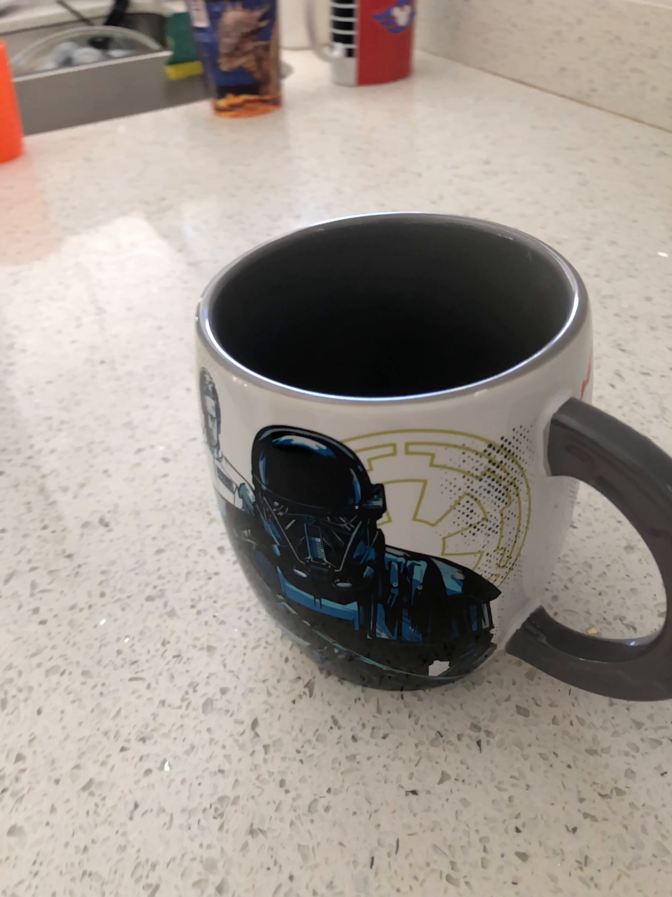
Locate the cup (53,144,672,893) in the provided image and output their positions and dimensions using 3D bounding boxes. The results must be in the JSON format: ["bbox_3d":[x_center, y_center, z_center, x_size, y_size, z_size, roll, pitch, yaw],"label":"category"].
[{"bbox_3d":[0.024,-0.001,0.189,0.141,0.100,0.100,28,49,36],"label":"cup"}]
